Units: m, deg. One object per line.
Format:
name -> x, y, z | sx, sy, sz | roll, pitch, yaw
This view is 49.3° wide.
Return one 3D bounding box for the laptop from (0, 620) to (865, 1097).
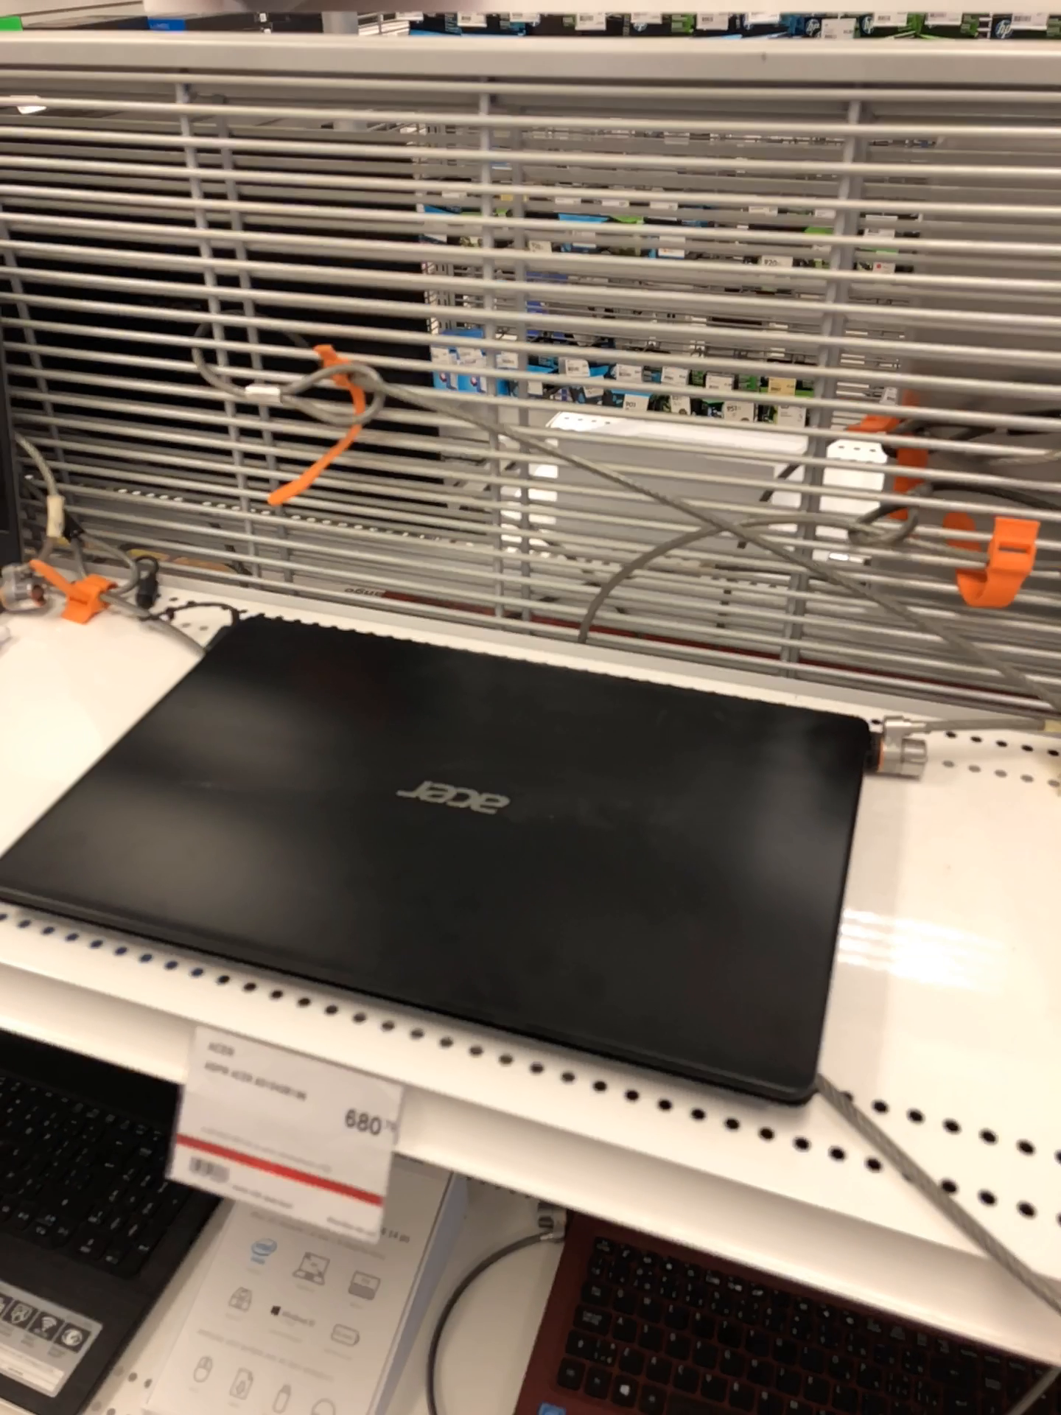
laptop -> -0.035, 0.044, 0.553 | 0.355, 0.006, 0.232 | 10, 36, 16
